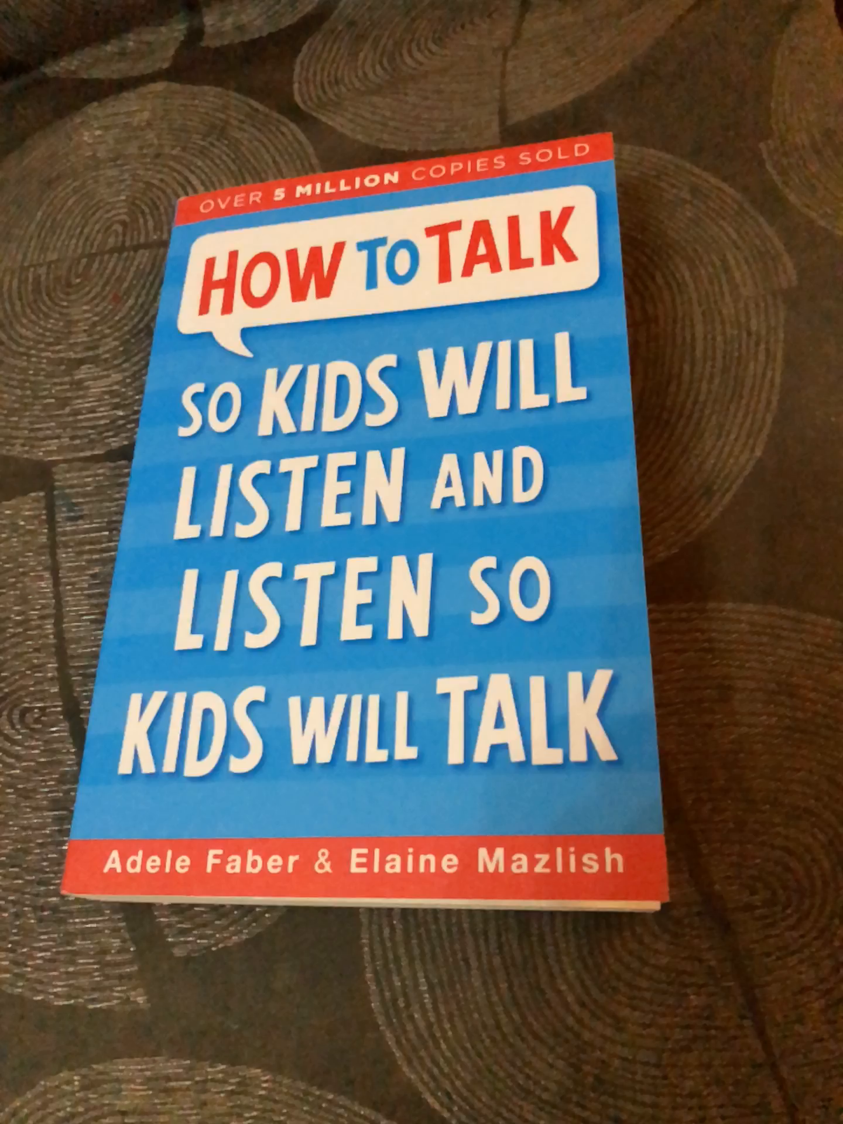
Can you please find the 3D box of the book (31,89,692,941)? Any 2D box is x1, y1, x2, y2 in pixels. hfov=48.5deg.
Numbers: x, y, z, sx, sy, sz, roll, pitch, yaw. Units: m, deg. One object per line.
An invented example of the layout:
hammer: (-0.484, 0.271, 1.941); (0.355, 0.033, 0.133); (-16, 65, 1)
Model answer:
book: (-0.013, -0.018, 0.241); (0.140, 0.030, 0.210); (-3, 70, 11)
